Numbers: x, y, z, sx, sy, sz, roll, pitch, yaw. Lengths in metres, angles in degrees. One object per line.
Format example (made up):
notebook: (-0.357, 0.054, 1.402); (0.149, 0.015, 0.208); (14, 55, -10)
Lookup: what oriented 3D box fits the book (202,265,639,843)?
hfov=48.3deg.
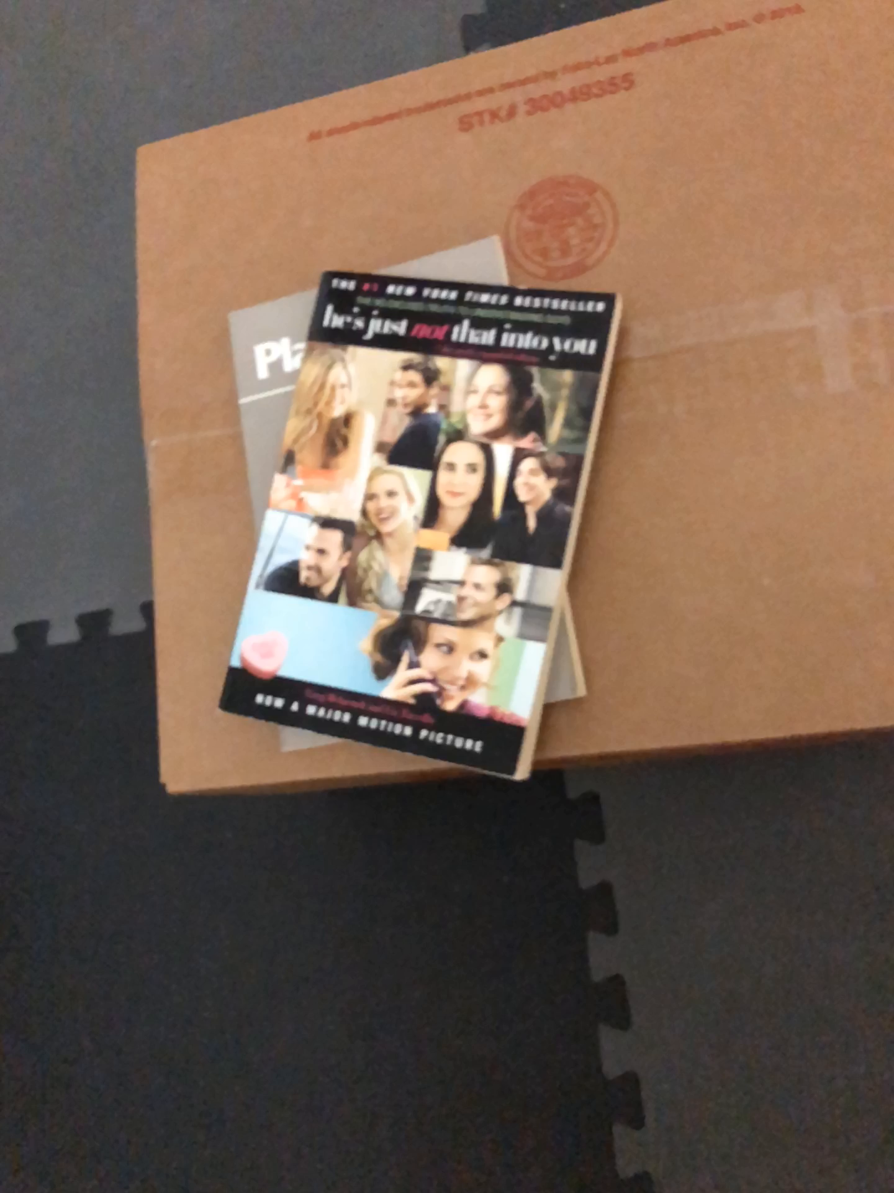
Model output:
book: (-0.012, -0.027, 0.426); (0.150, 0.010, 0.230); (9, 83, 17)
